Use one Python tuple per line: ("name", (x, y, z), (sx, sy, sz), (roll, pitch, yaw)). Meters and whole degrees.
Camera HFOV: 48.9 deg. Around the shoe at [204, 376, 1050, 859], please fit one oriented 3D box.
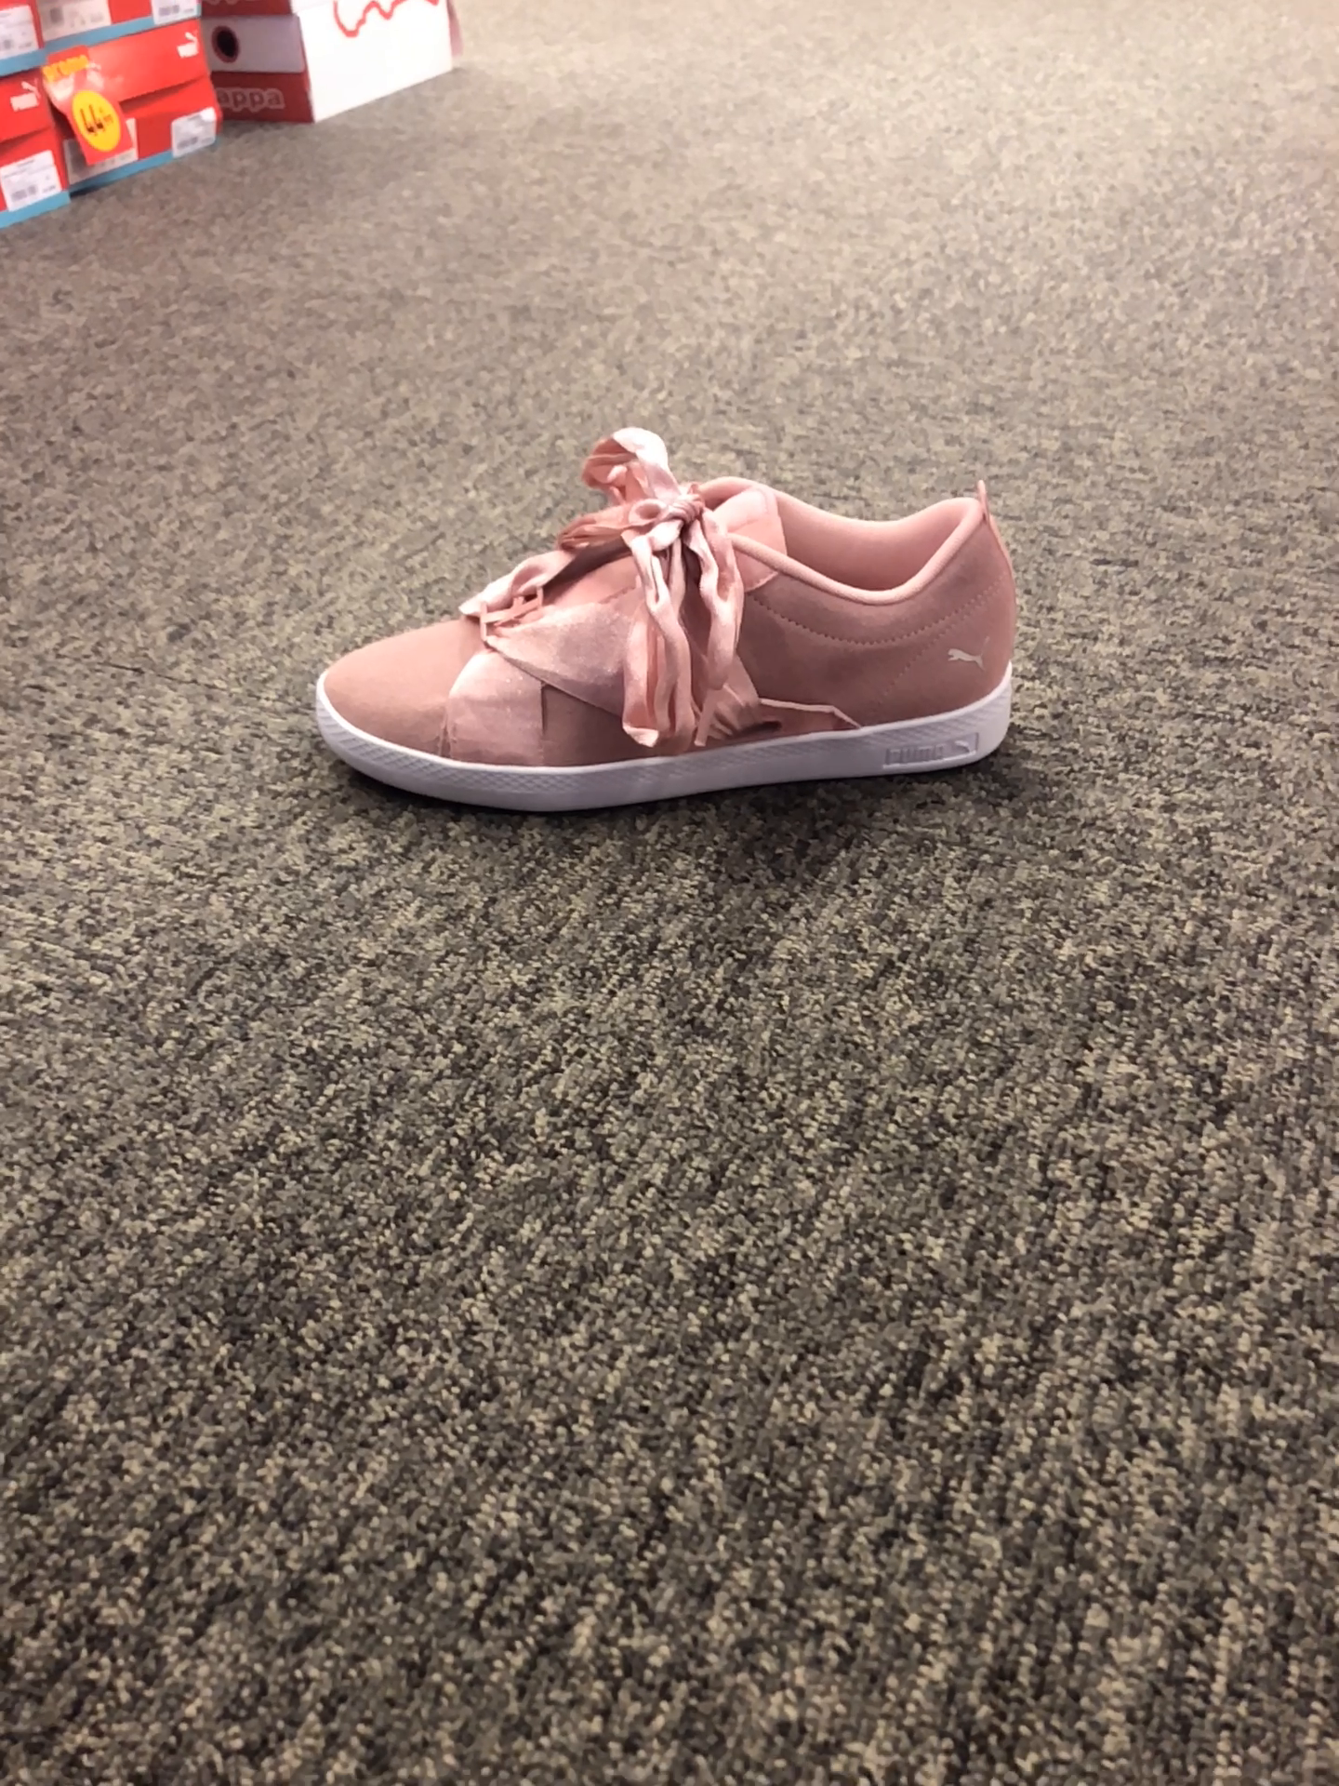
("shoe", (-0.008, -0.095, 0.520), (0.262, 0.099, 0.101), (-6, 37, 9))
